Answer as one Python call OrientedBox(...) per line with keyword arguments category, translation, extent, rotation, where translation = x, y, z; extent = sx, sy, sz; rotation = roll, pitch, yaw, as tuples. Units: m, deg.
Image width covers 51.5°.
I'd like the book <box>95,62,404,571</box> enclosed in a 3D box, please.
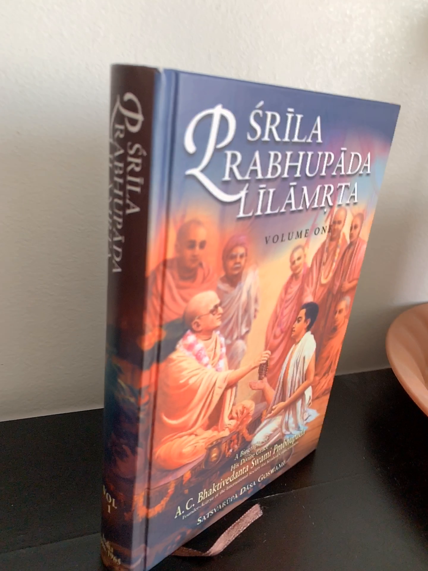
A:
OrientedBox(category="book", translation=(0.019, 0.022, 0.236), extent=(0.162, 0.233, 0.030), rotation=(-13, 29, -40))
